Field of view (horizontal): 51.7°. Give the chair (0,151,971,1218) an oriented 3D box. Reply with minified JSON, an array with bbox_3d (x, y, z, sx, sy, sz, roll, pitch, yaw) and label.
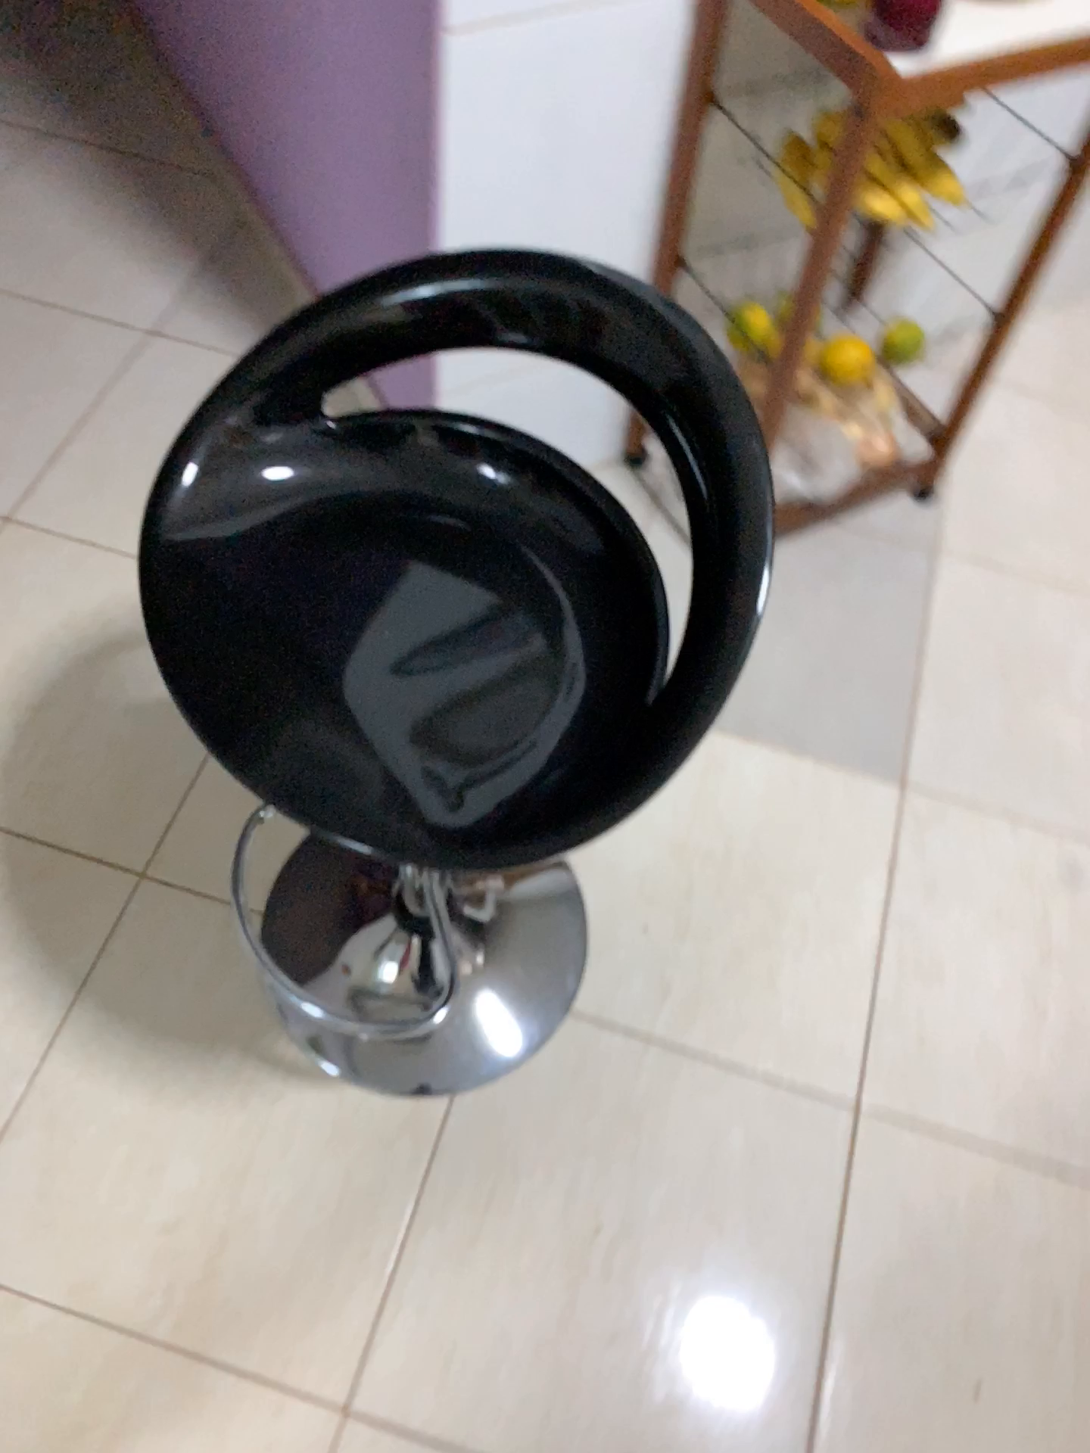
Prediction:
[{"bbox_3d":[-0.082,0.040,1.033,0.444,0.815,0.453,-31,65,-23],"label":"chair"}]
